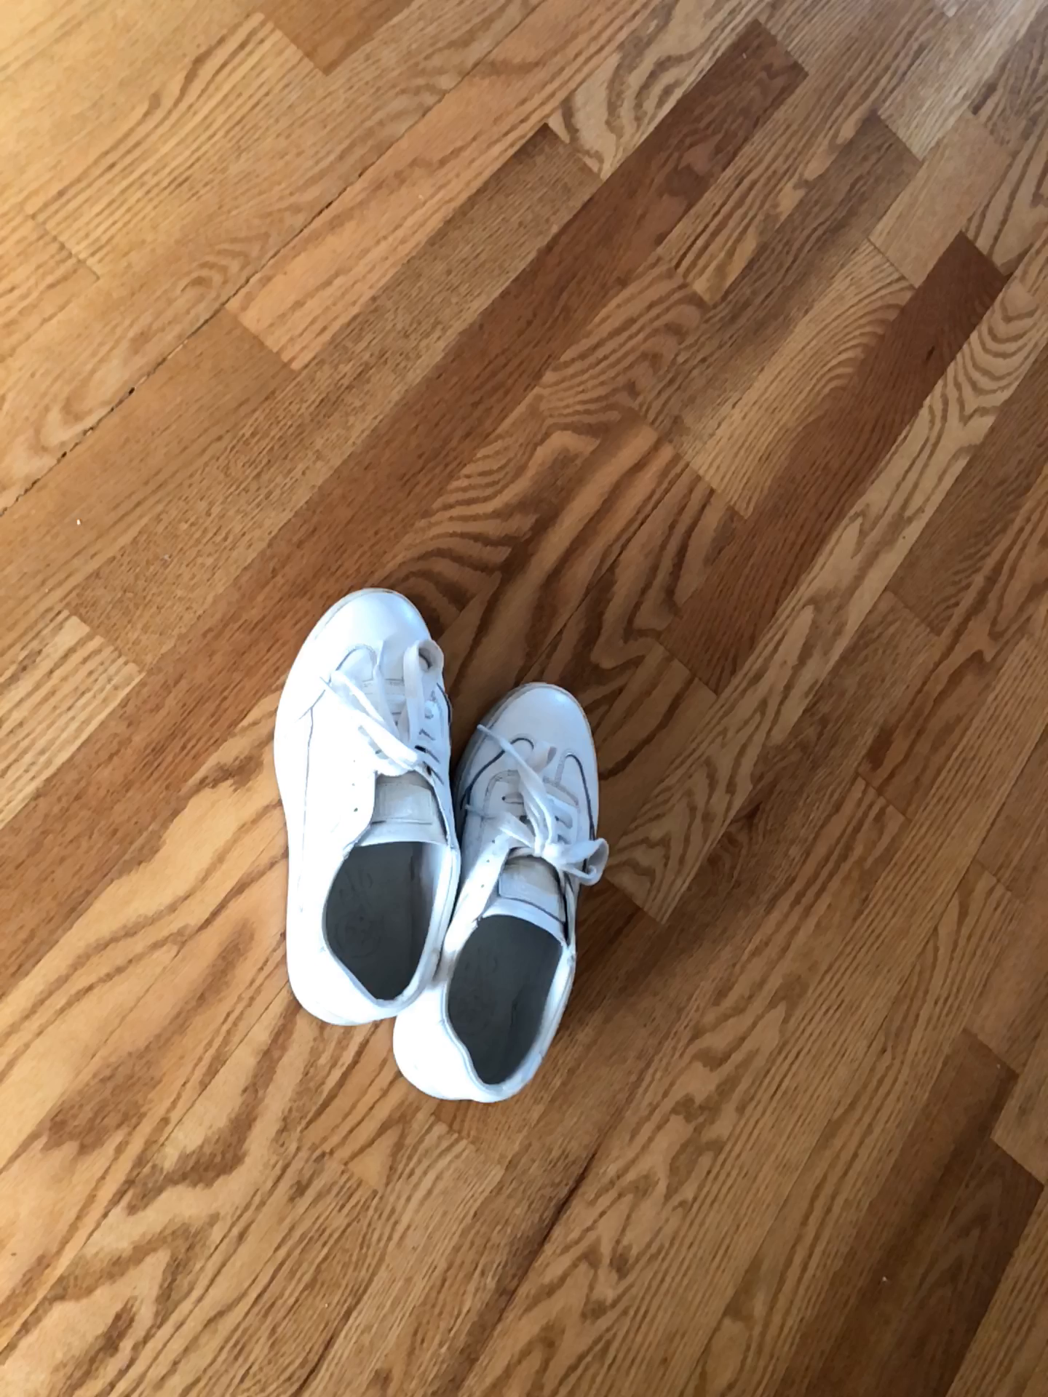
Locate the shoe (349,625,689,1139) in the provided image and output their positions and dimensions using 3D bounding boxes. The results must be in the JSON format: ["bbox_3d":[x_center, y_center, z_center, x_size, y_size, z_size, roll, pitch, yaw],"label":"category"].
[{"bbox_3d":[-0.003,0.105,0.680,0.102,0.107,0.260,21,74,-17],"label":"shoe"}]

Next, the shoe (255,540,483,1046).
[{"bbox_3d":[-0.089,0.055,0.657,0.103,0.104,0.260,4,80,-21],"label":"shoe"}]
